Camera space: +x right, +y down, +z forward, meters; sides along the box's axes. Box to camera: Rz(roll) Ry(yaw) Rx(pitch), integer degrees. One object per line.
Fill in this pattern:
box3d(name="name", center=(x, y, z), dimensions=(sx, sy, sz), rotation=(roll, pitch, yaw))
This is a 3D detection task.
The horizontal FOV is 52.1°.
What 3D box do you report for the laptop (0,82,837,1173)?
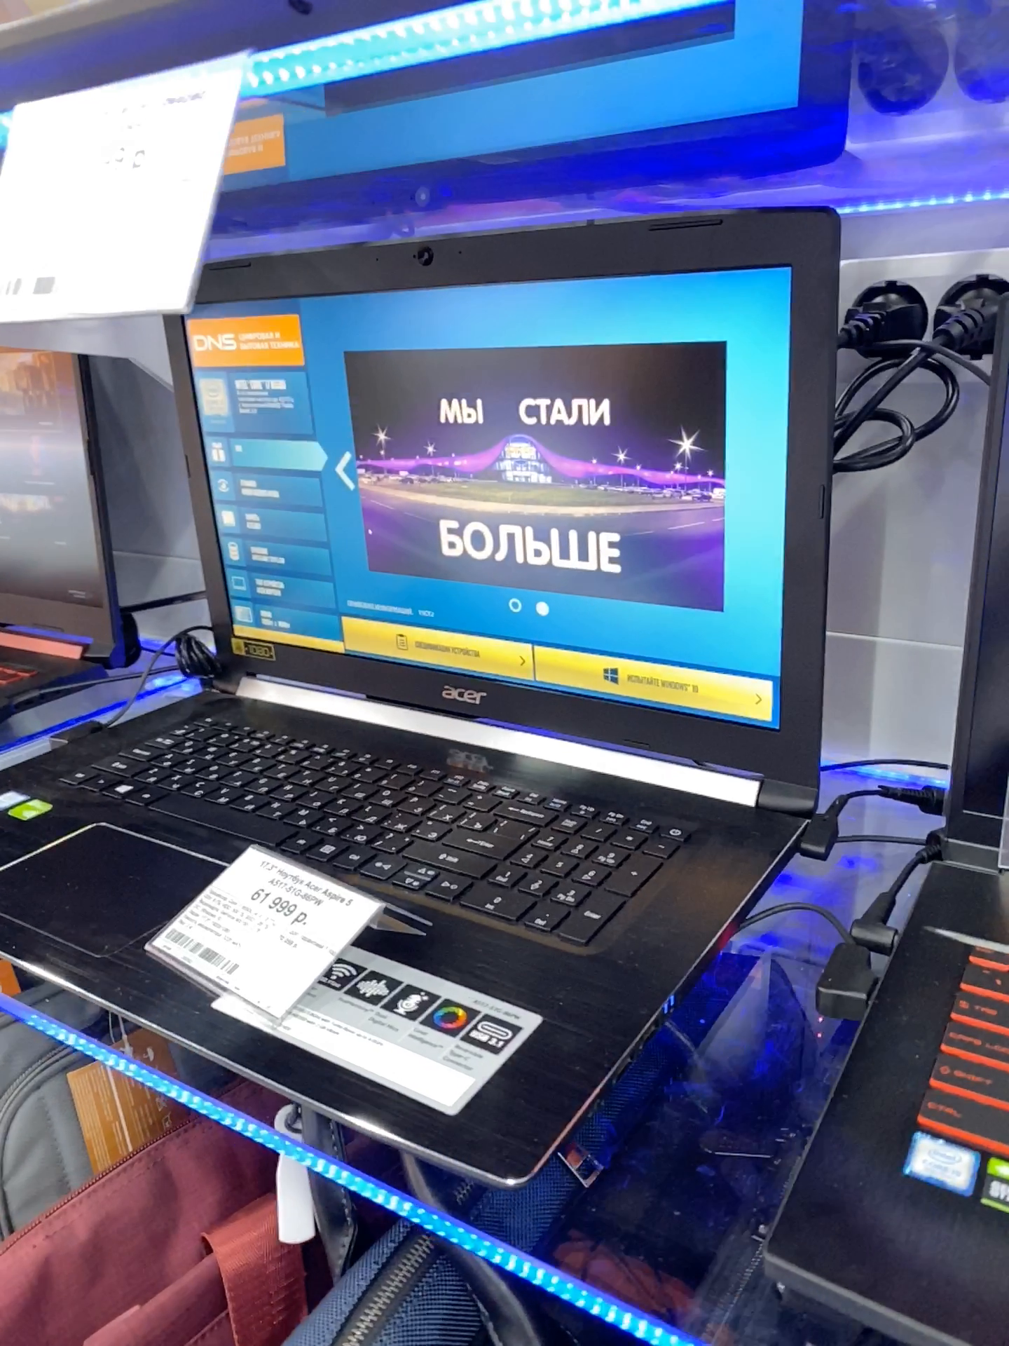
box3d(name="laptop", center=(-0.107, -0.054, 0.474), dimensions=(0.422, 0.277, 0.272), rotation=(9, 20, 32))
